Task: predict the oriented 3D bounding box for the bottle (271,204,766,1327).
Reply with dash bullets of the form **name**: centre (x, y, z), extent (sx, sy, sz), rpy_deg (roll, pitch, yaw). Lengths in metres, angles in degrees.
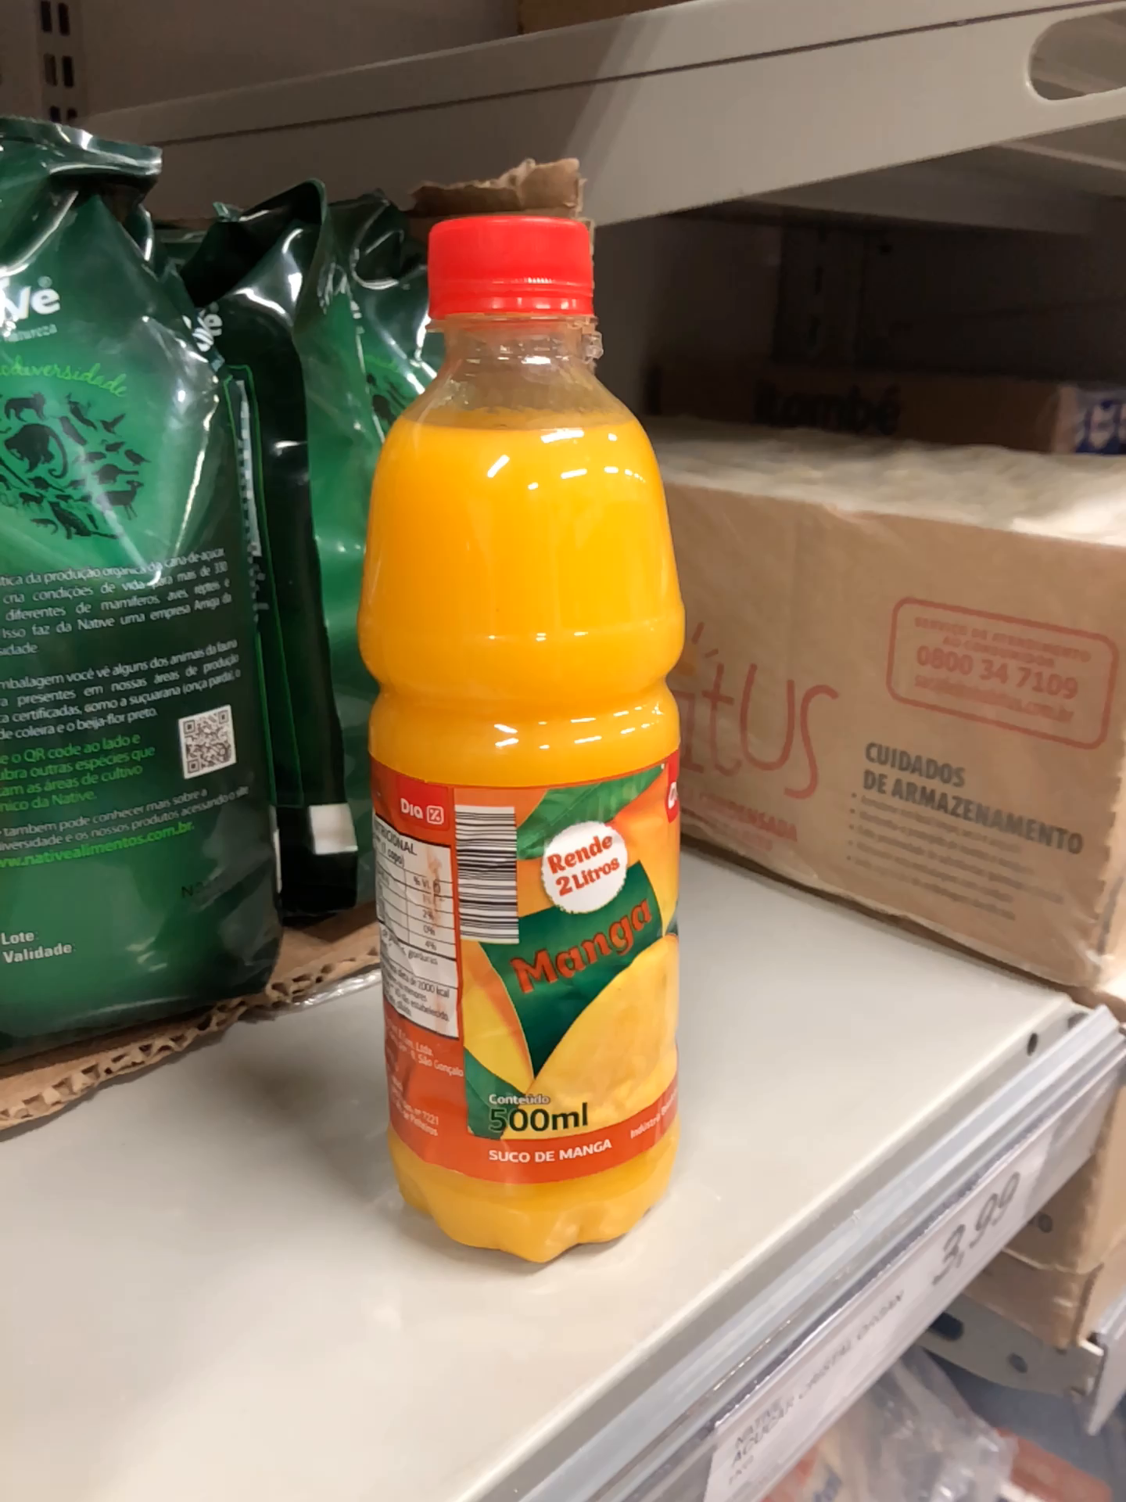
- **bottle**: centre (-0.009, 0.002, 0.250), extent (0.070, 0.199, 0.060), rpy_deg (-8, 19, -21)
